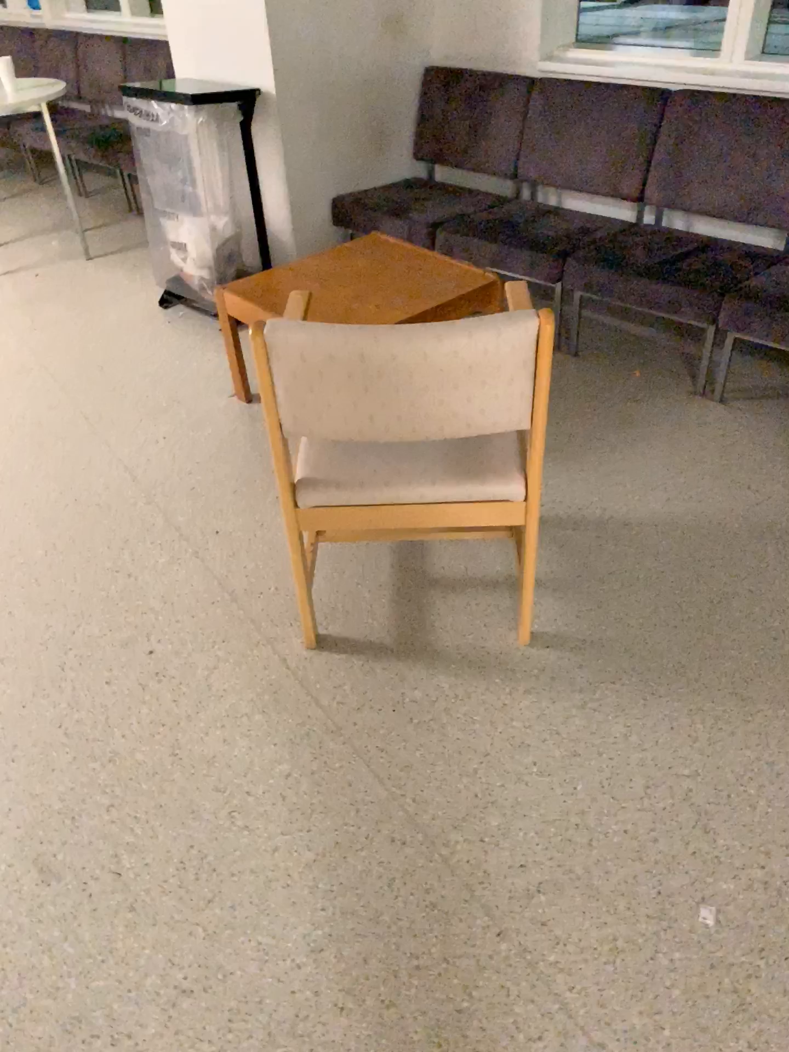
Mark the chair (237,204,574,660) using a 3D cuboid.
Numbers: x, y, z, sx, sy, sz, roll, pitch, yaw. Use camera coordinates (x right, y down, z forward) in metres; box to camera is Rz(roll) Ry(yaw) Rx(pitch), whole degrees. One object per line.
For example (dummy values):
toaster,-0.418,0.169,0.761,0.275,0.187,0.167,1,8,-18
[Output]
chair,0.037,-0.183,1.640,0.510,0.752,0.515,-2,37,2
